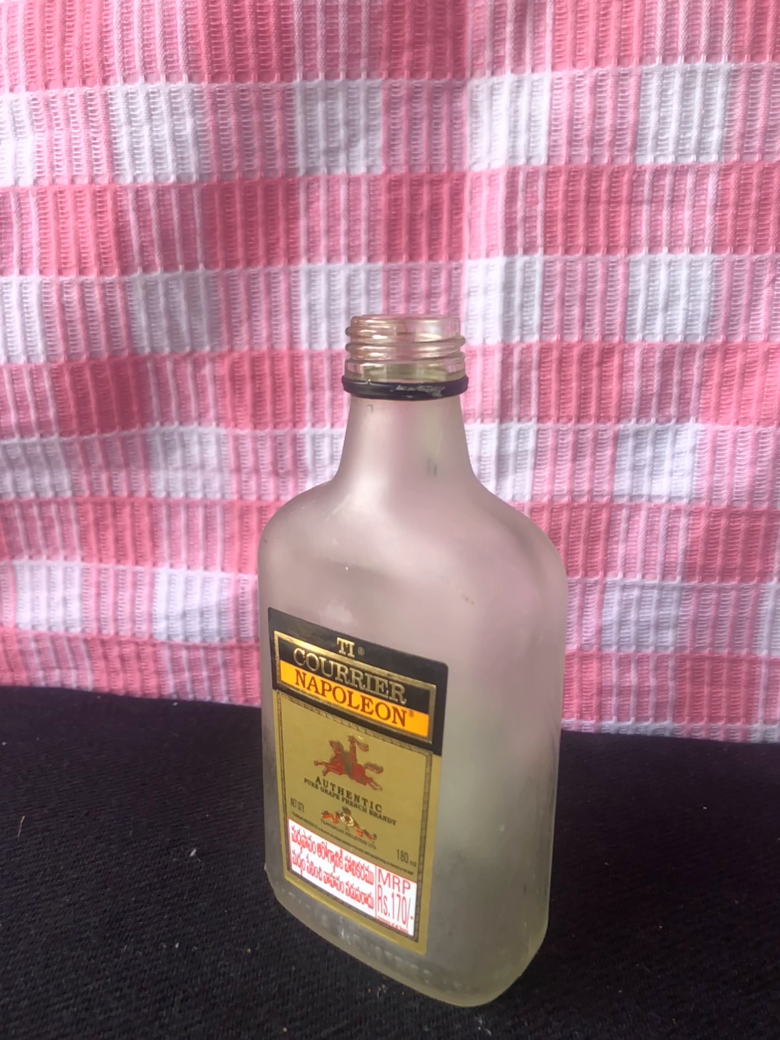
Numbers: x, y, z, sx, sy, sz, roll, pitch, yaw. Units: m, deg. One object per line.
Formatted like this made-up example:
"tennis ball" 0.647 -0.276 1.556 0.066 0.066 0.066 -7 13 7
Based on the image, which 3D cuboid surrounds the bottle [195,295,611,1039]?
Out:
"bottle" -0.001 0.030 0.190 0.070 0.149 0.040 13 20 33
